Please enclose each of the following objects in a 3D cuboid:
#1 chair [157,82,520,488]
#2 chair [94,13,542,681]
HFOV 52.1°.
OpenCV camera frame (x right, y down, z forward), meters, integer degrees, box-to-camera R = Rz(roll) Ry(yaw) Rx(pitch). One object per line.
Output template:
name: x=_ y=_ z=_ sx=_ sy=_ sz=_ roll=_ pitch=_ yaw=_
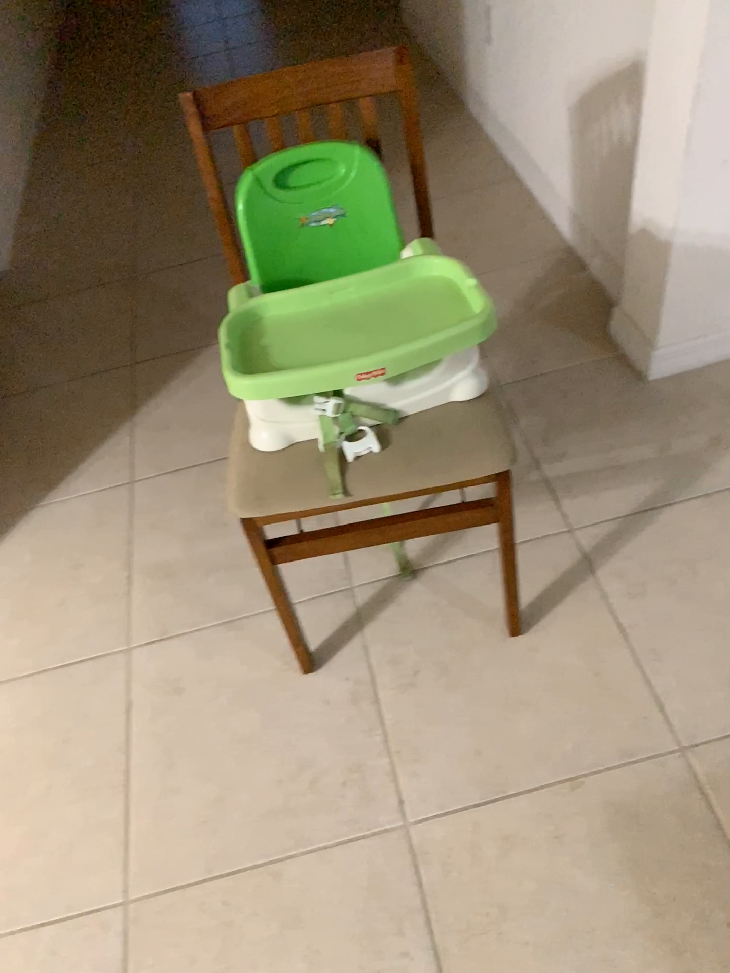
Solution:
chair: x=-0.034 y=-0.290 z=1.069 sx=0.404 sy=0.328 sz=0.388 roll=-13 pitch=48 yaw=1
chair: x=-0.005 y=-0.165 z=1.255 sx=0.454 sy=0.882 sz=0.560 roll=-10 pitch=48 yaw=3
